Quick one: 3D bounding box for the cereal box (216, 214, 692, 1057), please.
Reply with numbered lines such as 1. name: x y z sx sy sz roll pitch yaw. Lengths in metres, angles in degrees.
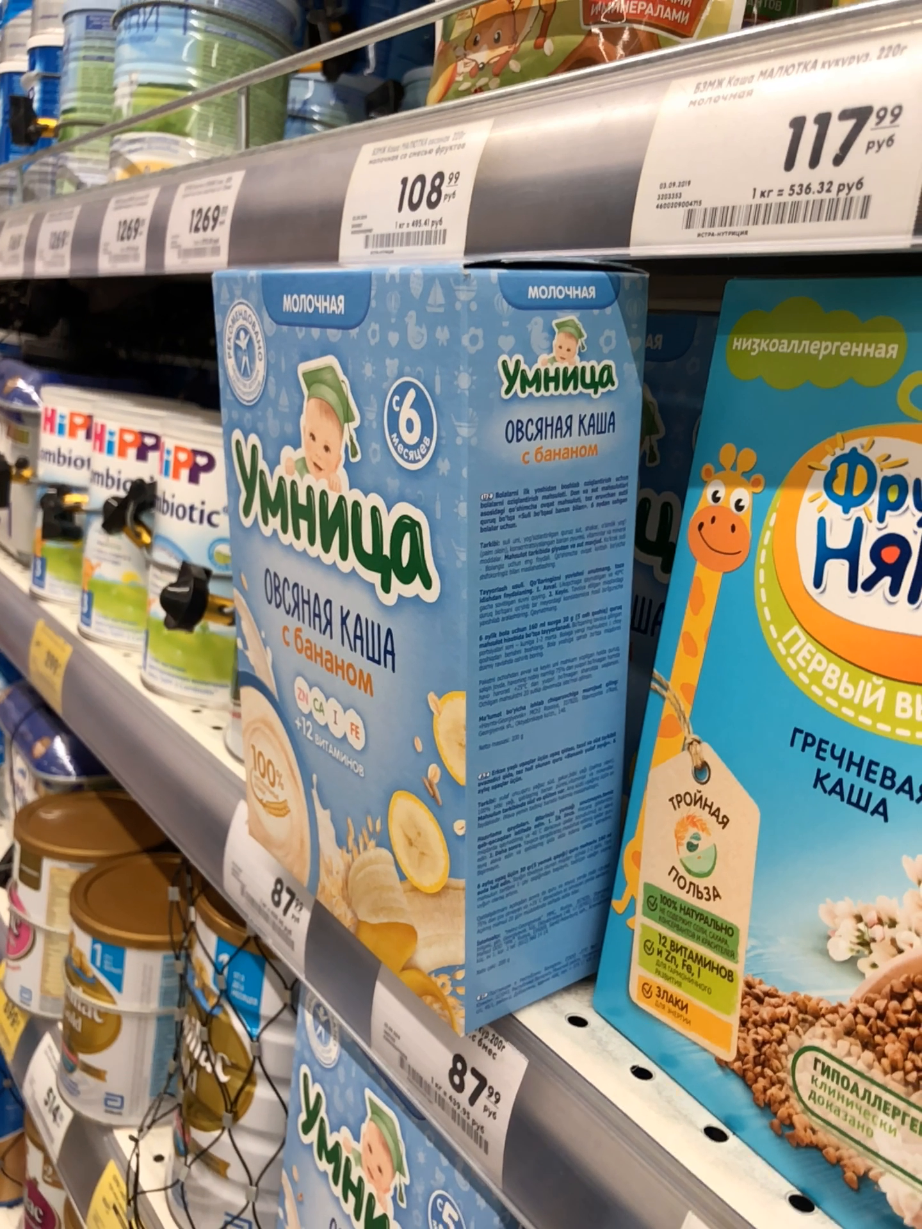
1. cereal box: -0.011 -0.005 0.320 0.060 0.209 0.150 -11 19 -34
